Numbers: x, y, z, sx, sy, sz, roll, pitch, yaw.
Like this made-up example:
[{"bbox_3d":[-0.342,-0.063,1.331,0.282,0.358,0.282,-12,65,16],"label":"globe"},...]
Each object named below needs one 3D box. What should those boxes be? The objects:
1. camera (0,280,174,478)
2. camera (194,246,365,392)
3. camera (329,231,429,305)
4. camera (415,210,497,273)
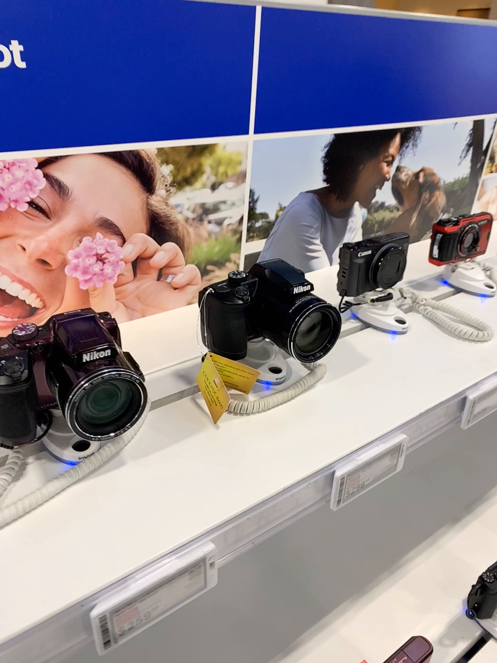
[{"bbox_3d":[-0.146,0.028,0.411,0.130,0.080,0.111,-18,34,-31],"label":"camera"},{"bbox_3d":[0.027,-0.019,0.505,0.120,0.080,0.111,-18,34,-31],"label":"camera"},{"bbox_3d":[0.169,-0.085,0.664,0.120,0.060,0.050,-18,34,-31],"label":"camera"},{"bbox_3d":[0.317,-0.137,0.765,0.130,0.060,0.050,-18,34,-31],"label":"camera"}]
